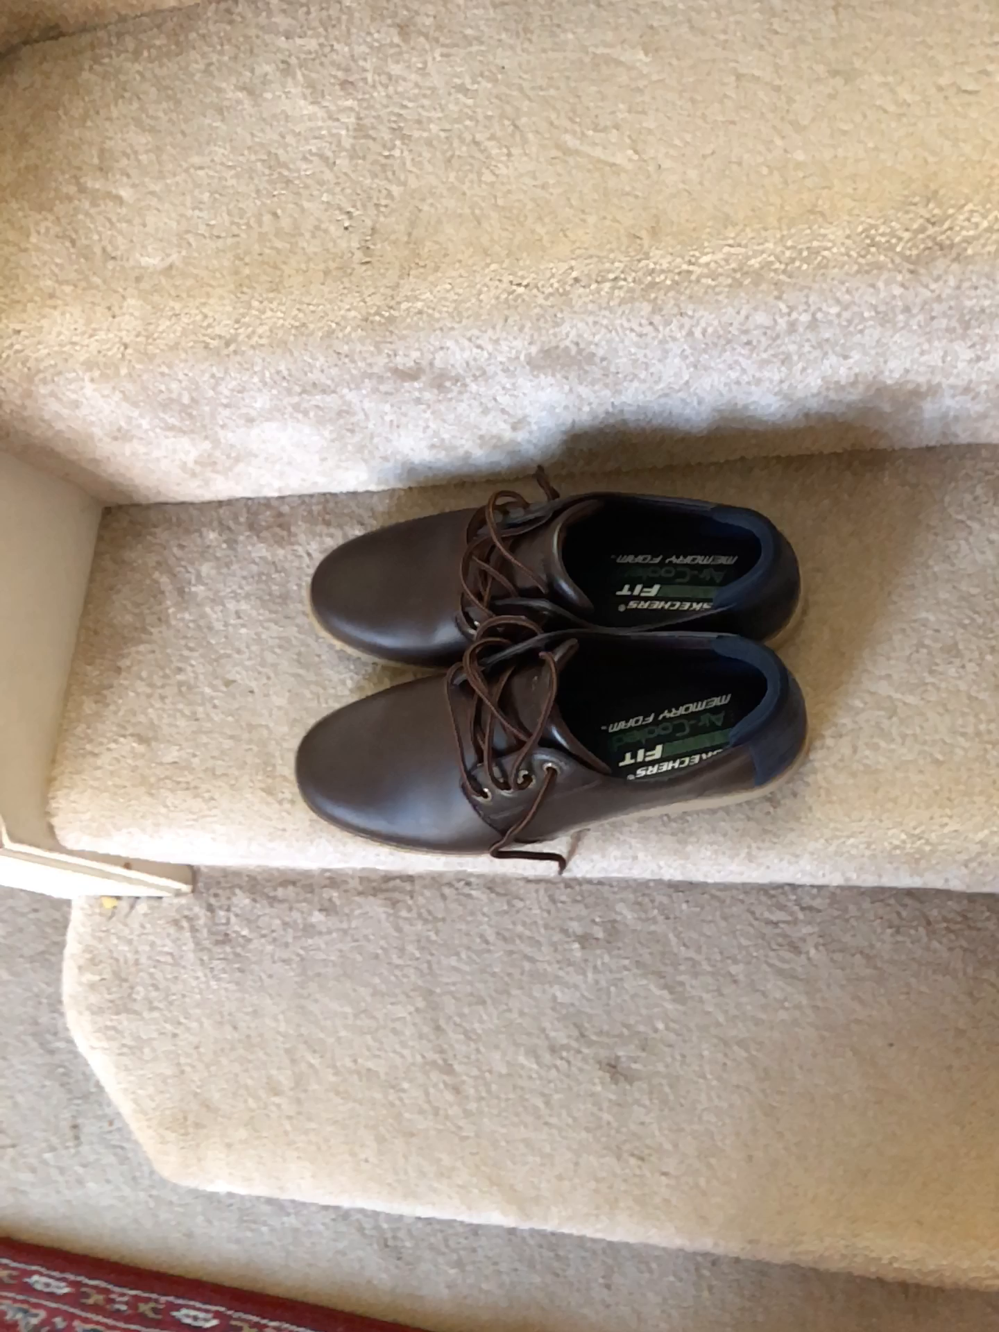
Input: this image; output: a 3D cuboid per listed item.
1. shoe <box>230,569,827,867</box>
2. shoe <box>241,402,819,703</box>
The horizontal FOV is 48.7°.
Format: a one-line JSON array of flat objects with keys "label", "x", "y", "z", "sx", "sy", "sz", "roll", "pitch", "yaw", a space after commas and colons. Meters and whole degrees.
[{"label": "shoe", "x": 0.014, "y": 0.037, "z": 0.597, "sx": 0.300, "sy": 0.090, "sz": 0.110, "roll": -7, "pitch": 69, "yaw": 16}, {"label": "shoe", "x": 0.017, "y": -0.054, "z": 0.615, "sx": 0.300, "sy": 0.090, "sz": 0.110, "roll": -4, "pitch": 70, "yaw": 17}]
